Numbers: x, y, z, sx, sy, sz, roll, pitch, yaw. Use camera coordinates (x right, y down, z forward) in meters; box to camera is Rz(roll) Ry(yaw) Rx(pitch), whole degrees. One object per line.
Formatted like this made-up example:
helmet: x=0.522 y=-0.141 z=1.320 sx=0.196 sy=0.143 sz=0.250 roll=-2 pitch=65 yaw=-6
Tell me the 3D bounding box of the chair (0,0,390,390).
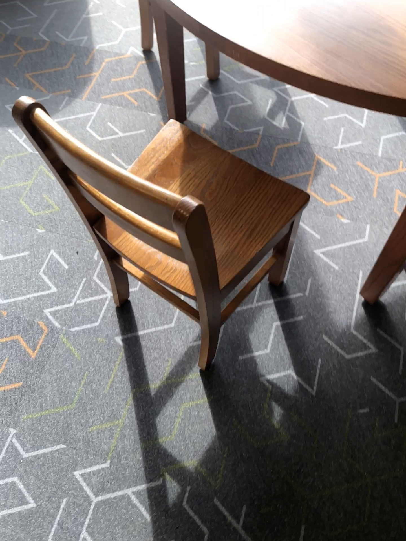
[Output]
chair: x=-0.007 y=-0.113 z=0.859 sx=0.371 sy=0.667 sz=0.391 roll=32 pitch=69 yaw=18
